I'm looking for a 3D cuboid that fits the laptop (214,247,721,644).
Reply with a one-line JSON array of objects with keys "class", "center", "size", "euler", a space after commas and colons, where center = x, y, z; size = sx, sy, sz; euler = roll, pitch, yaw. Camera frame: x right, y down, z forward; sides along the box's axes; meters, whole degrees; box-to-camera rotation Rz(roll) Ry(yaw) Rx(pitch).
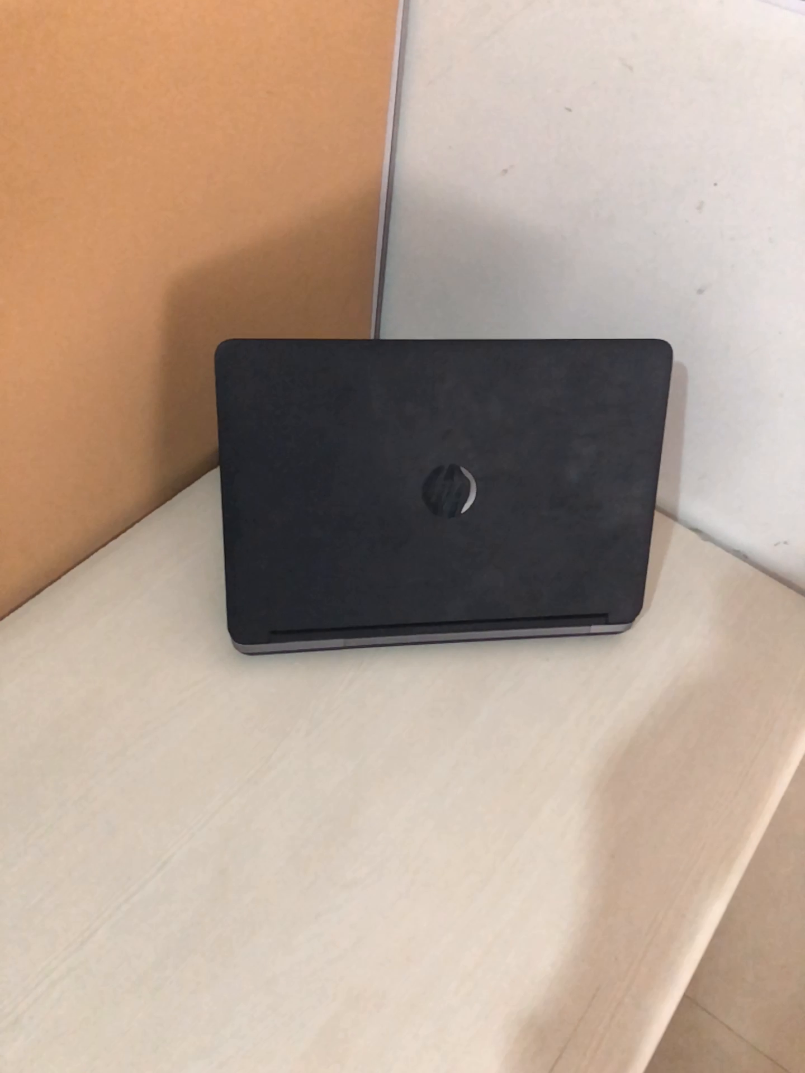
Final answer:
[{"class": "laptop", "center": [0.023, -0.073, 0.693], "size": [0.318, 0.193, 0.228], "euler": [-2, 49, -10]}]
